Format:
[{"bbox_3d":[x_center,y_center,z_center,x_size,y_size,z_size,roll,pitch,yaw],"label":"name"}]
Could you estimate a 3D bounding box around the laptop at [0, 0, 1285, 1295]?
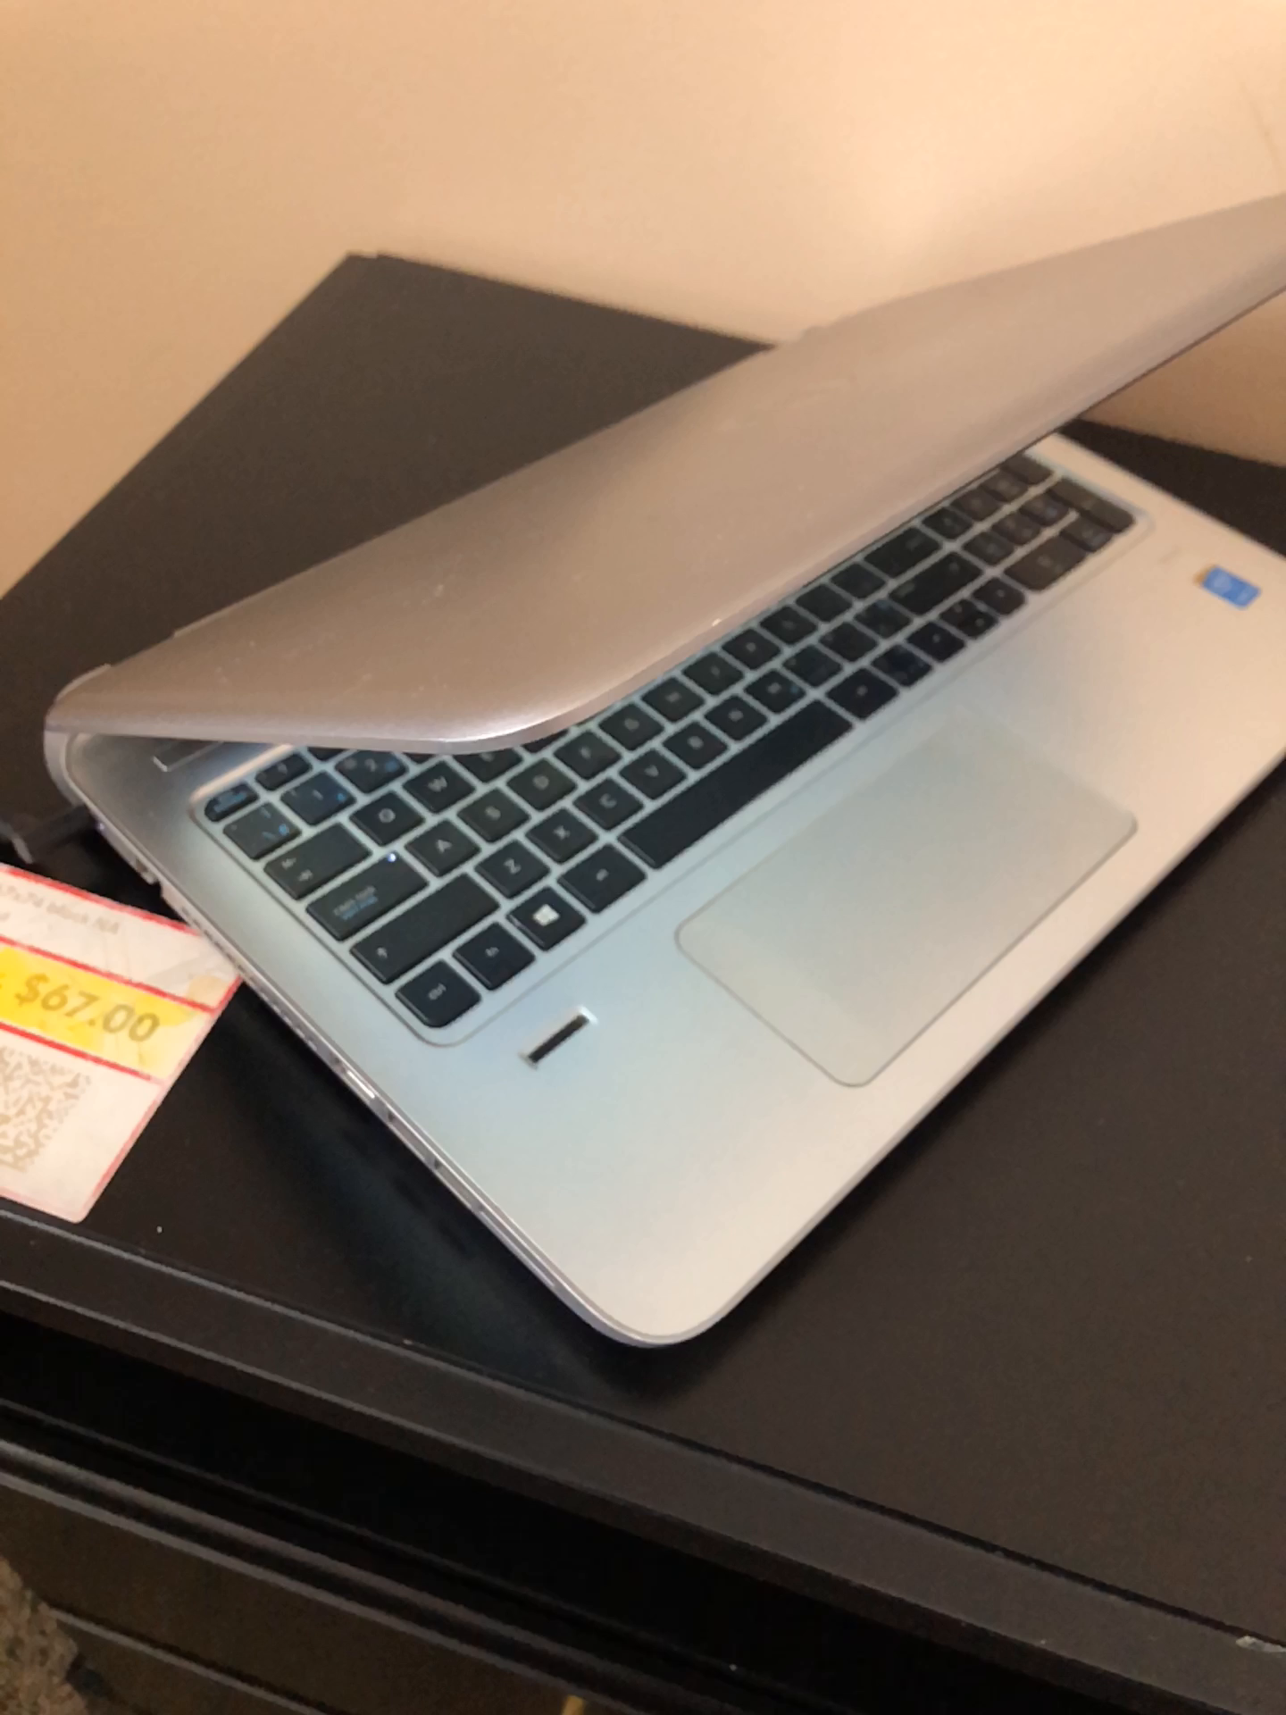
[{"bbox_3d":[0.048,-0.105,0.395,0.228,0.153,0.356,38,55,24],"label":"laptop"}]
